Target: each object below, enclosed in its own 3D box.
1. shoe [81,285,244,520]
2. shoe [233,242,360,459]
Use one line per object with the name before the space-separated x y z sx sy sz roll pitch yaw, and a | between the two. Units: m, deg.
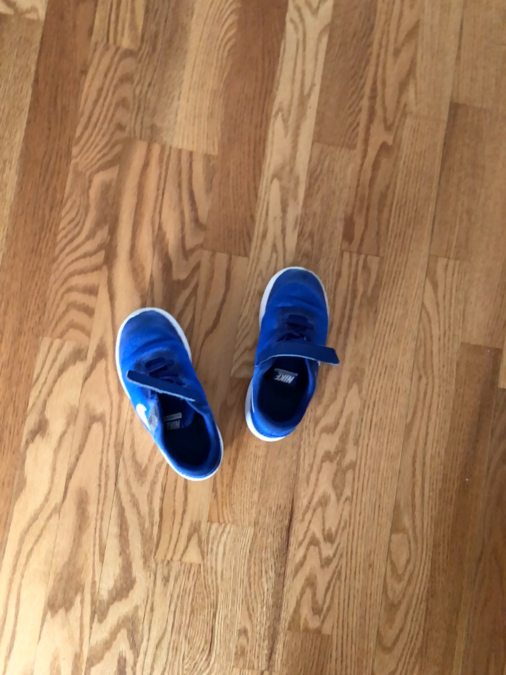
shoe | -0.095 0.065 0.600 0.093 0.092 0.214 -20 90 -7
shoe | 0.045 0.015 0.625 0.093 0.092 0.214 10 86 -6
